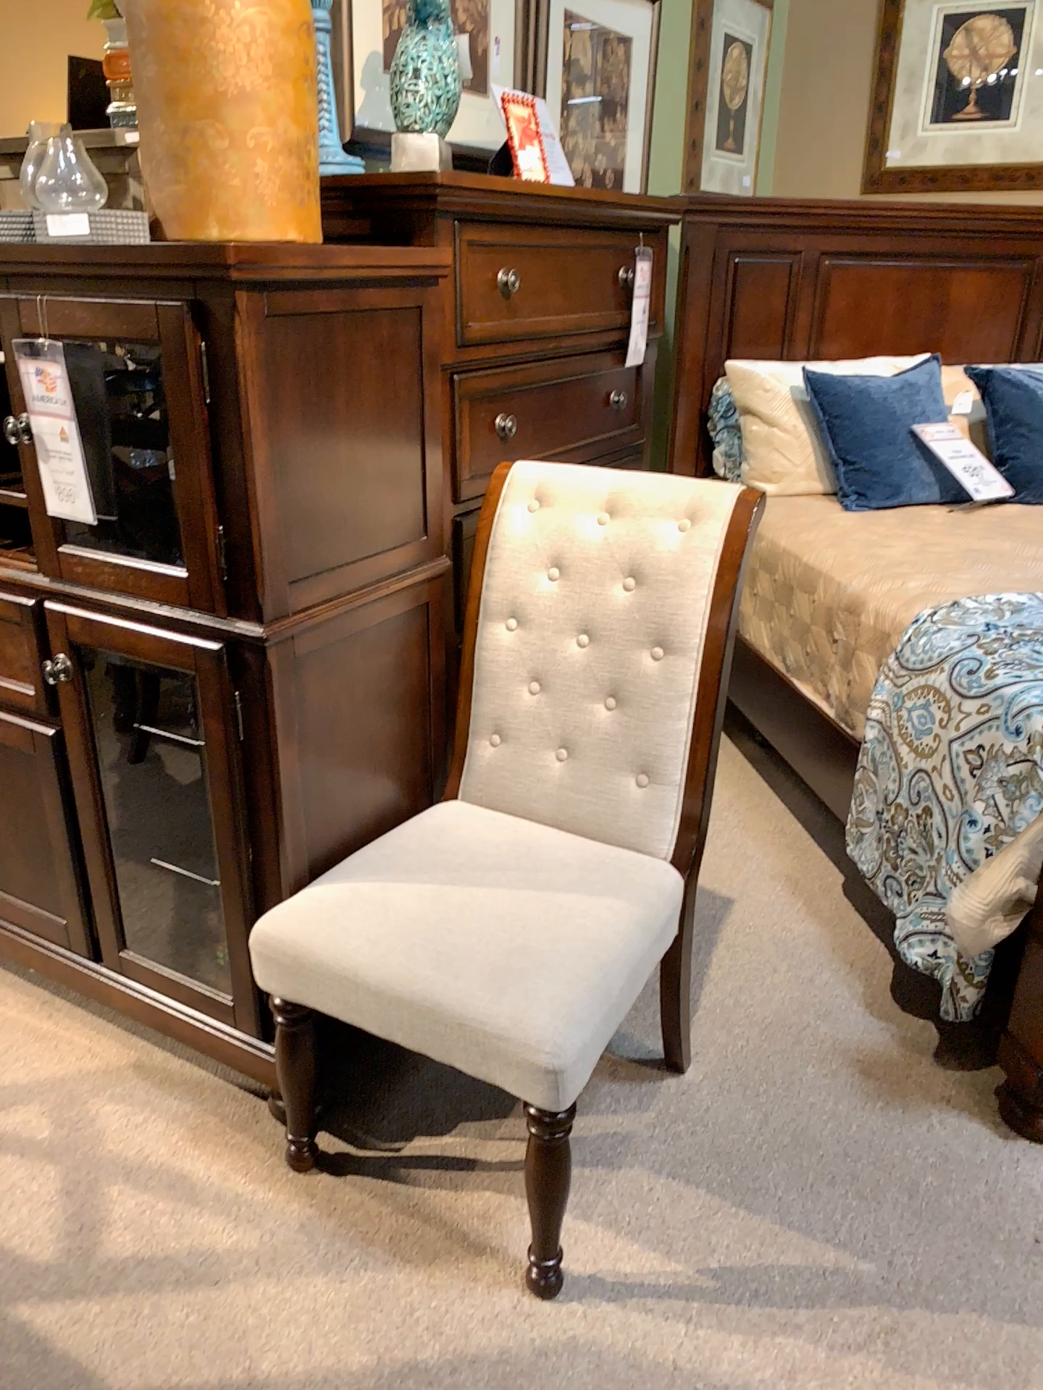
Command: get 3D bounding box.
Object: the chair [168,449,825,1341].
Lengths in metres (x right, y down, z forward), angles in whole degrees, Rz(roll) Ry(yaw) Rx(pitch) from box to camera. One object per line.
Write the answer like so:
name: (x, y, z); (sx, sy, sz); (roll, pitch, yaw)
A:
chair: (0.007, 0.191, 1.574); (0.585, 0.950, 0.719); (13, 24, 27)
